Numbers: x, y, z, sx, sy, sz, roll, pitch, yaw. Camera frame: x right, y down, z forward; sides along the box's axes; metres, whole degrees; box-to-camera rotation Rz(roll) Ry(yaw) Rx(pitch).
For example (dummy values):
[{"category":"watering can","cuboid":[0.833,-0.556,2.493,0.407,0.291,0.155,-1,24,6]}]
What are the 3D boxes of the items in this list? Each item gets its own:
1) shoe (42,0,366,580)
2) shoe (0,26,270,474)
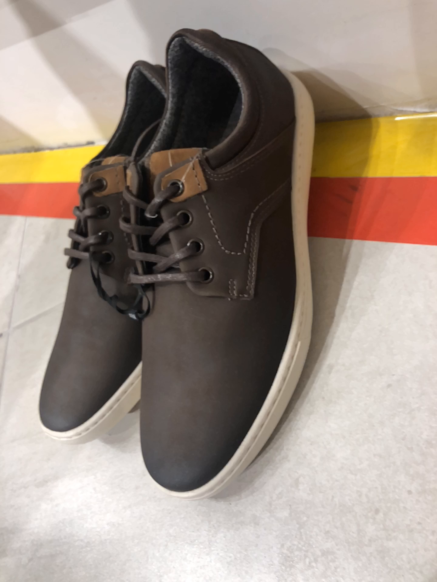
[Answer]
[{"category":"shoe","cuboid":[0.001,-0.012,0.278,0.100,0.100,0.270,3,79,38]},{"category":"shoe","cuboid":[-0.066,-0.024,0.348,0.100,0.100,0.270,11,81,41]}]
